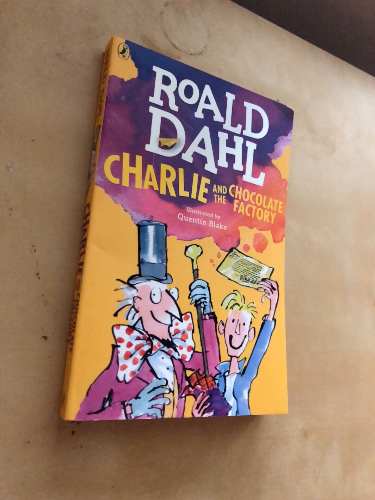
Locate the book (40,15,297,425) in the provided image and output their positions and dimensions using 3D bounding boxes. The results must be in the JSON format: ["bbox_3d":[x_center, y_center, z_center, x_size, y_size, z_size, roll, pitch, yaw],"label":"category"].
[{"bbox_3d":[0.000,-0.011,0.246,0.135,0.040,0.201,10,77,-29],"label":"book"}]
